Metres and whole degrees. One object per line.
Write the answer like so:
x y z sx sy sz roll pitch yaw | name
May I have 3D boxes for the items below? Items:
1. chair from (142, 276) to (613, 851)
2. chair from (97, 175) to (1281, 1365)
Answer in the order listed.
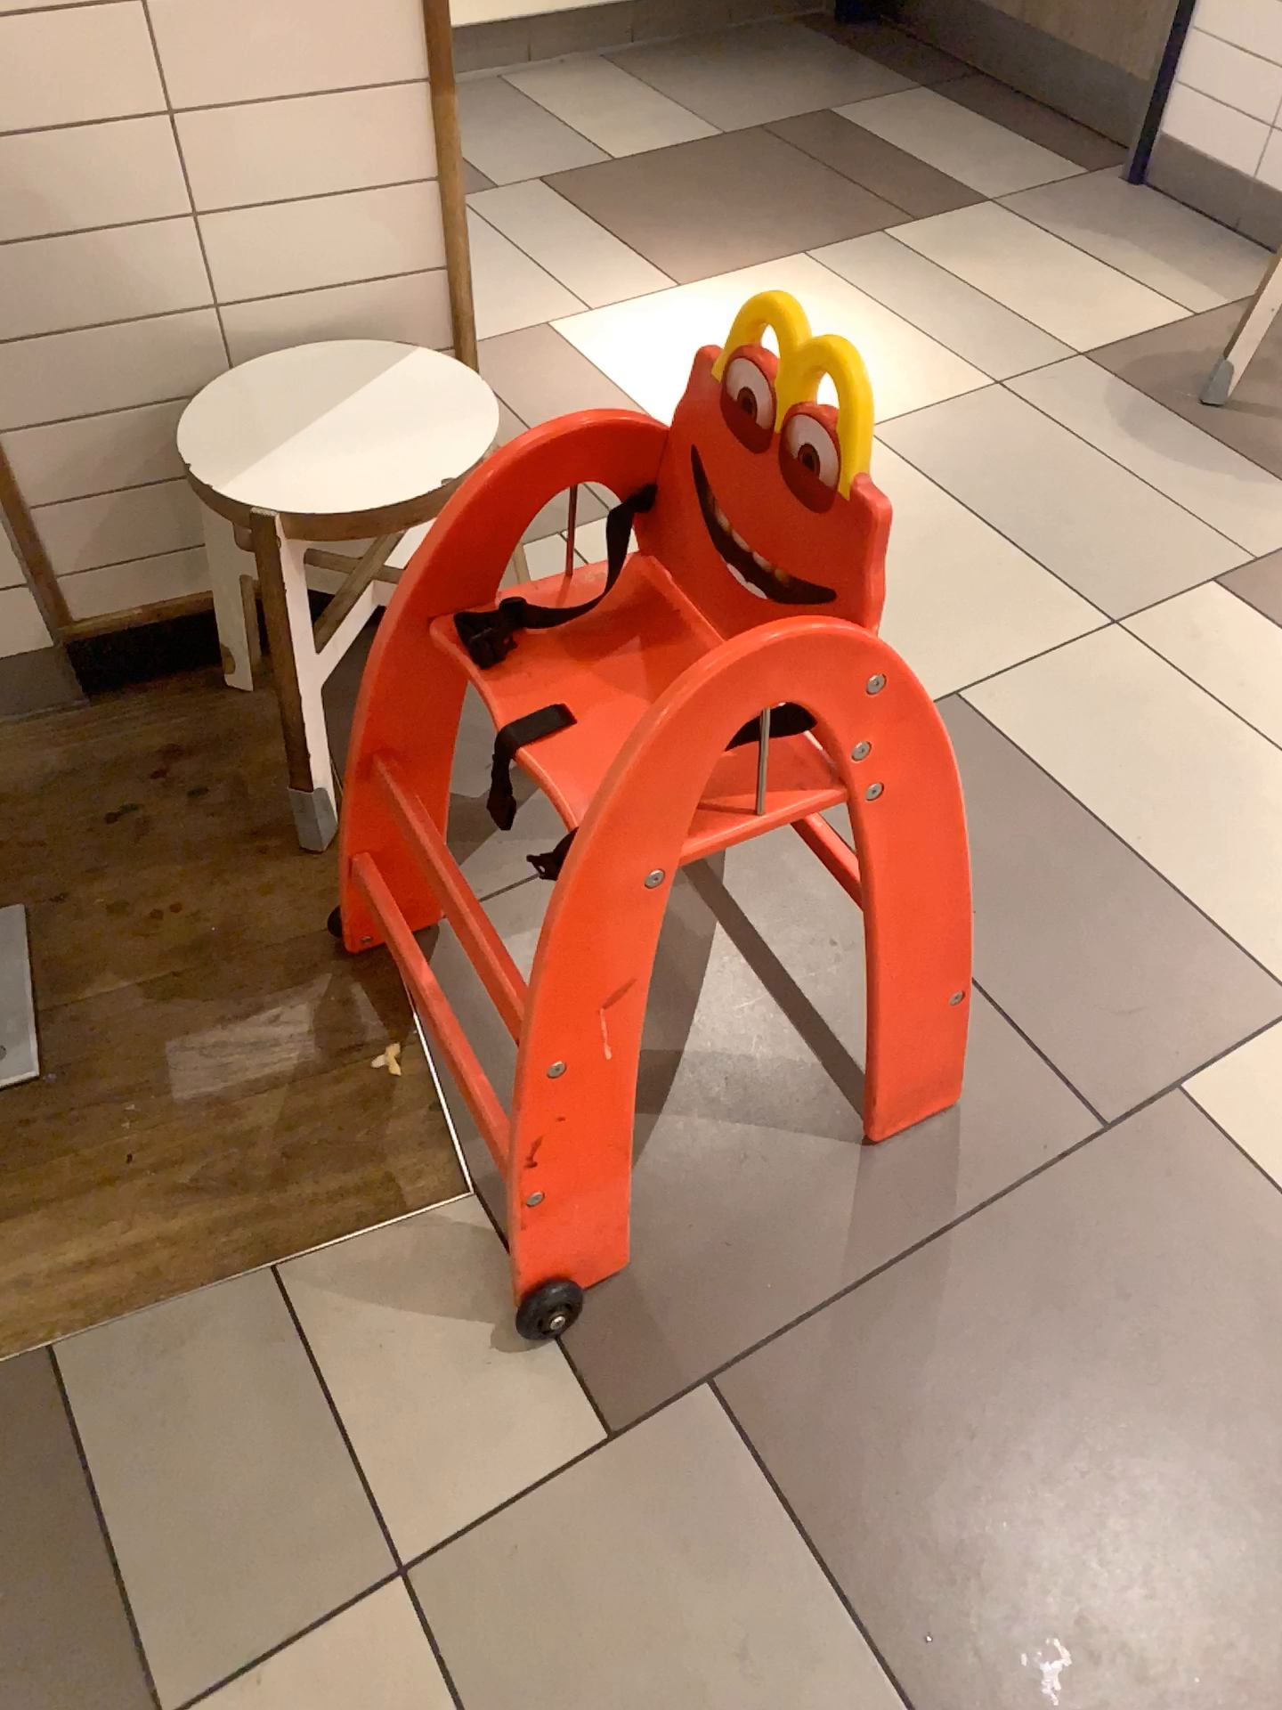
-0.272 -0.326 1.470 0.371 0.446 0.322 -24 53 -20 | chair
-0.001 -0.083 1.125 0.581 0.654 0.584 -24 53 -20 | chair
